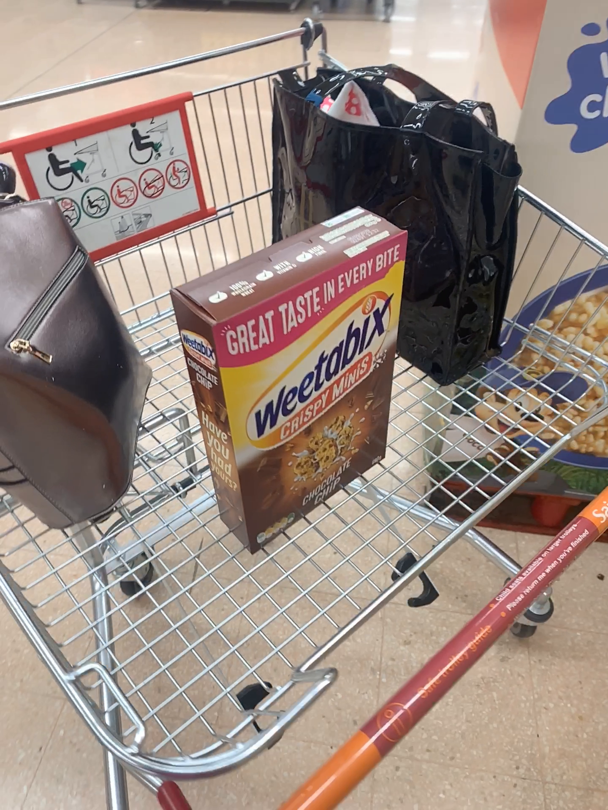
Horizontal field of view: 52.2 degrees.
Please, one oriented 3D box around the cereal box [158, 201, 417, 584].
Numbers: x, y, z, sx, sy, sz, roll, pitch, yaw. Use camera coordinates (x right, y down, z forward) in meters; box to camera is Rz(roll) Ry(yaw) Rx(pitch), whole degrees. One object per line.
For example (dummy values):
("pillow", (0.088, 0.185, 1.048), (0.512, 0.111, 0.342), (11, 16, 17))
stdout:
("cereal box", (-0.006, 0.001, 0.602), (0.211, 0.327, 0.070), (-32, 52, -29))
